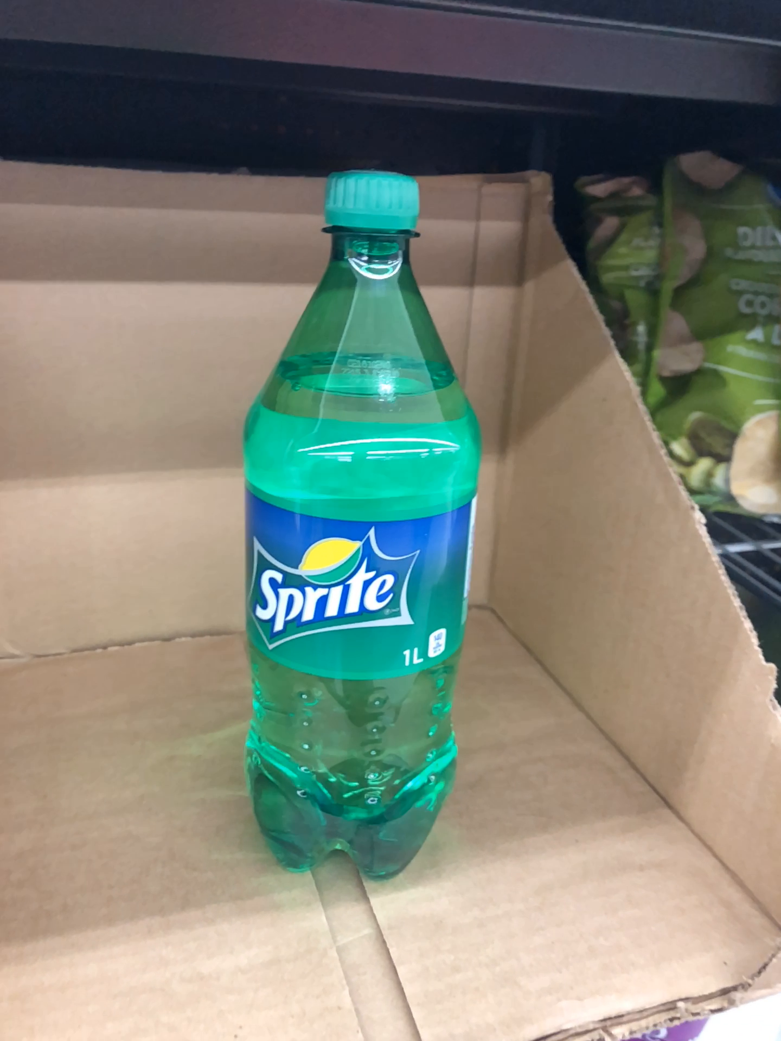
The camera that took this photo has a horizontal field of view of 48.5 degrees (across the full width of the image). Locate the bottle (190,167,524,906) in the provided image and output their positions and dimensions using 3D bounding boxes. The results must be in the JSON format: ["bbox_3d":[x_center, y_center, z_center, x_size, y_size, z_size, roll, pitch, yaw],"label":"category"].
[{"bbox_3d":[-0.012,0.007,0.319,0.090,0.248,0.091,3,22,-1],"label":"bottle"}]
